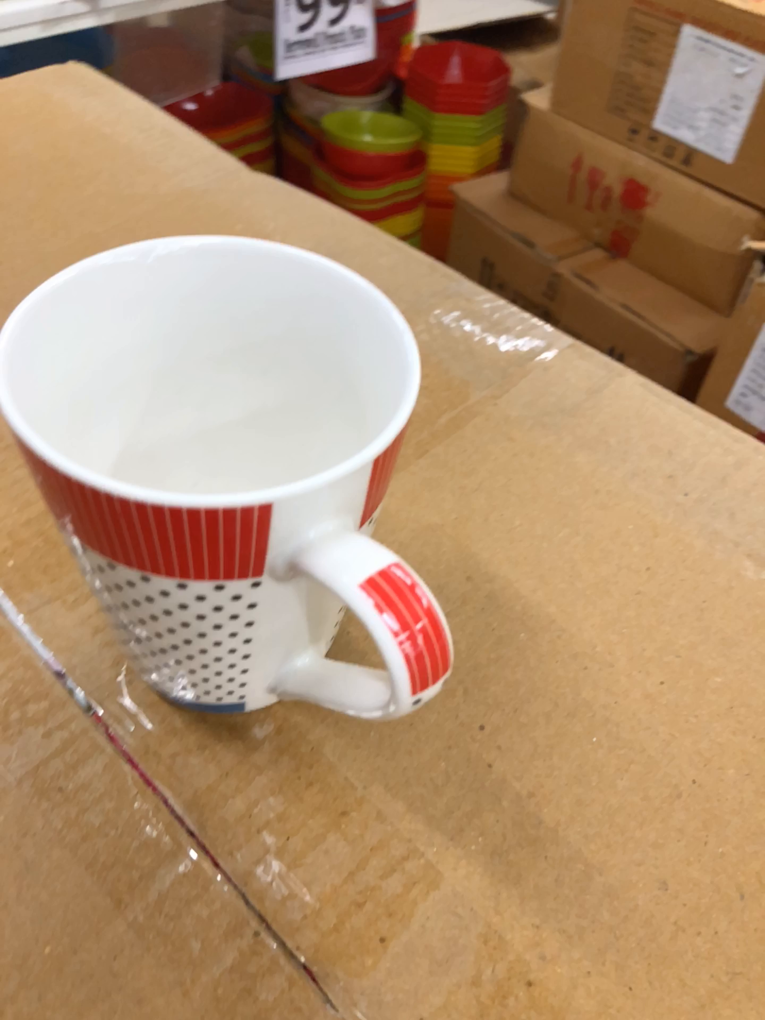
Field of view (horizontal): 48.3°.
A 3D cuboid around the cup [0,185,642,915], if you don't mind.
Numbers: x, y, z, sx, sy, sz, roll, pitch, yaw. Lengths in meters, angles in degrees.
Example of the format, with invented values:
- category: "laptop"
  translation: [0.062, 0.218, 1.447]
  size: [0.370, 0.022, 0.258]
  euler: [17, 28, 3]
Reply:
- category: "cup"
  translation: [-0.026, 0.002, 0.200]
  size: [0.120, 0.089, 0.090]
  euler: [34, 52, 24]
